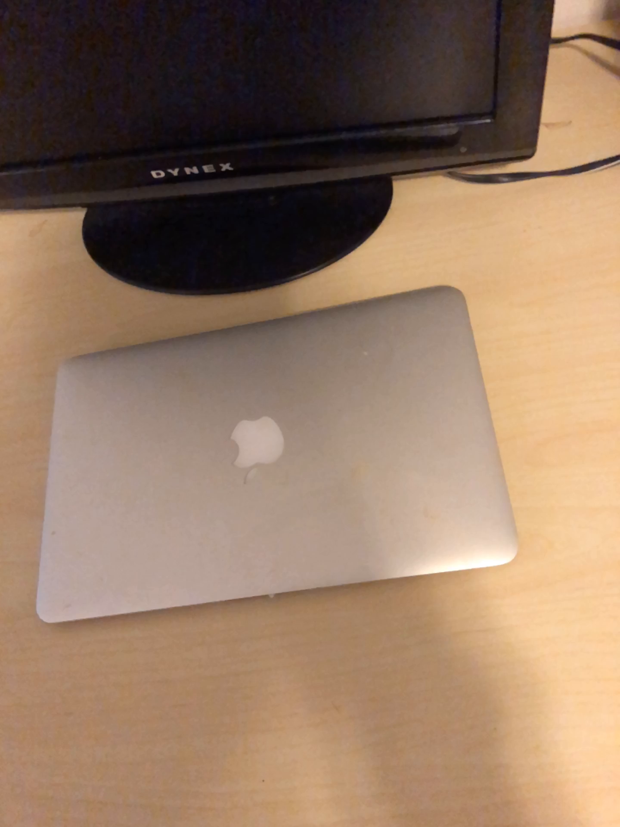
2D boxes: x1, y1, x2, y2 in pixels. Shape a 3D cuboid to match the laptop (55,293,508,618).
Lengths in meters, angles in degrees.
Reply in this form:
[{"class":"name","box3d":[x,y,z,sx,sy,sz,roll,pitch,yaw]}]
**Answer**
[{"class":"laptop","box3d":[-0.030,0.023,0.449,0.278,0.005,0.181,-9,64,7]}]
